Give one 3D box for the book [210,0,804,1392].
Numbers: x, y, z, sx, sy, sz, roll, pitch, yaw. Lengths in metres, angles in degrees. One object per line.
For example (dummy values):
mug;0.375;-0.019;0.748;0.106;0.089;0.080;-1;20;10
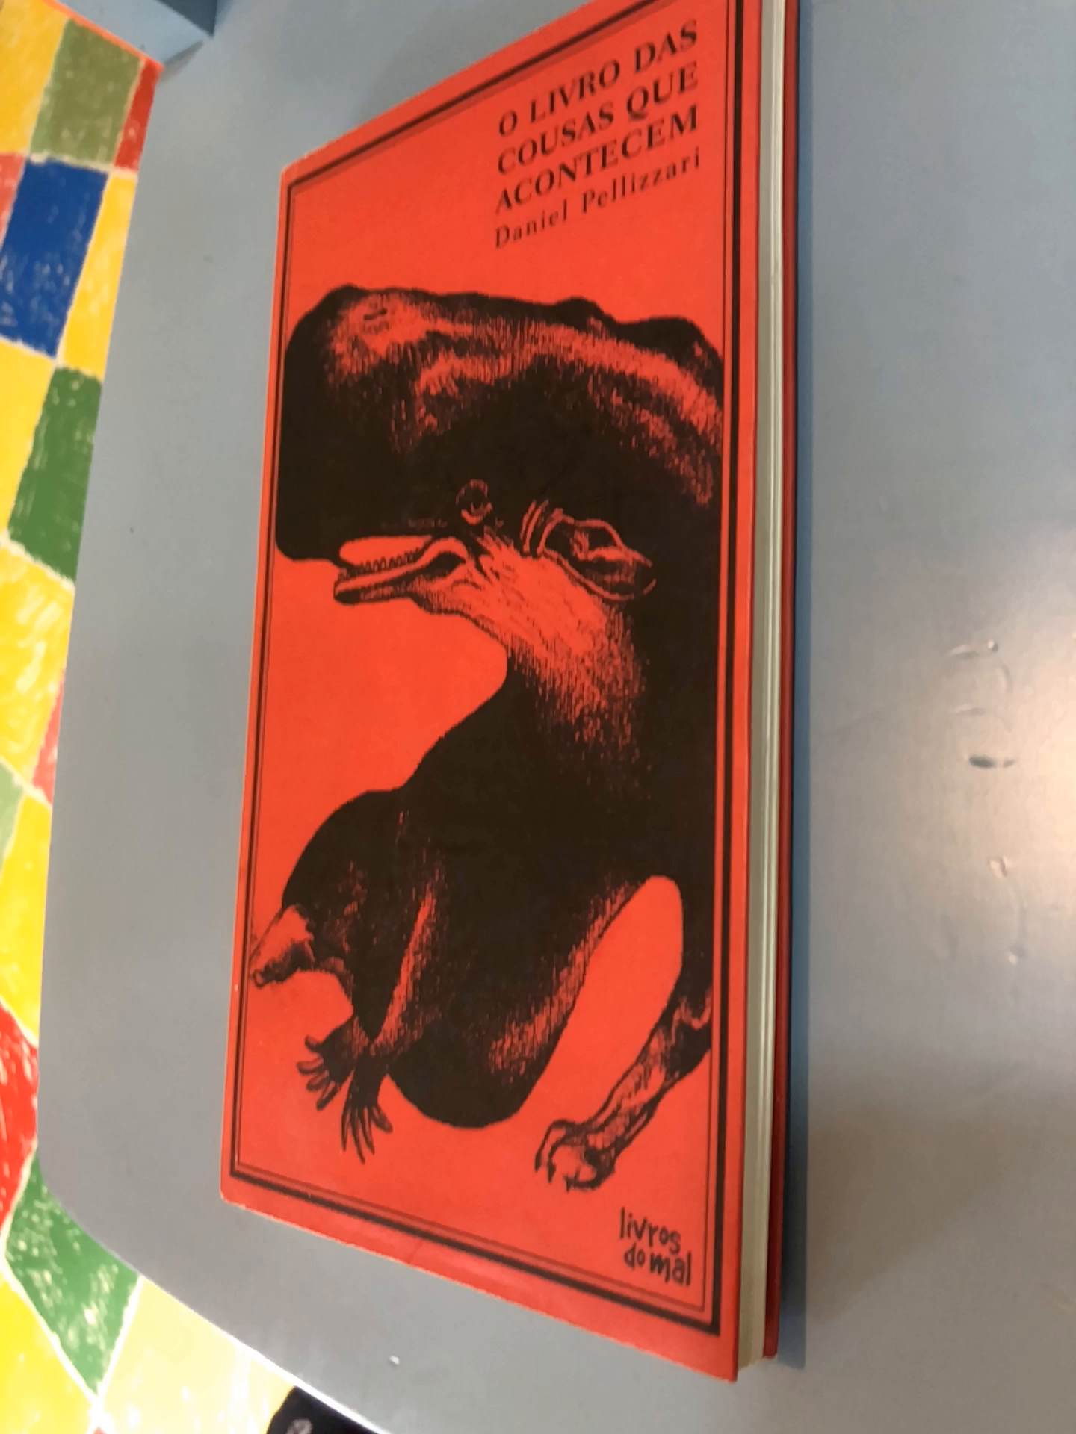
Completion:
book;-0.010;-0.012;0.202;0.110;0.016;0.200;-4;81;40
